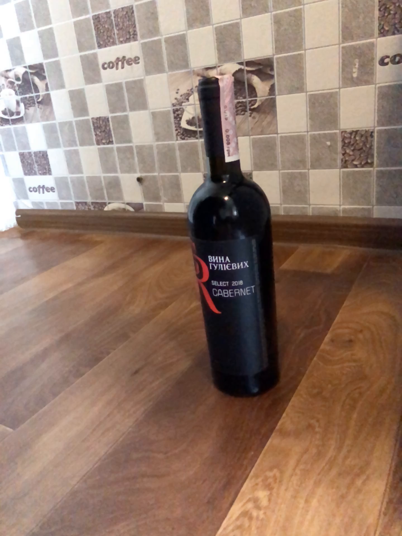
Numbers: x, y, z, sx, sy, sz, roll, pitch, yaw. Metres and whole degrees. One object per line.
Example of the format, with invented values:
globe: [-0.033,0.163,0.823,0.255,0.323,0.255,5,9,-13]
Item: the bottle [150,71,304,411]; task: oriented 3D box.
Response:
bottle: [0.036,-0.023,0.428,0.090,0.297,0.090,-6,21,2]
